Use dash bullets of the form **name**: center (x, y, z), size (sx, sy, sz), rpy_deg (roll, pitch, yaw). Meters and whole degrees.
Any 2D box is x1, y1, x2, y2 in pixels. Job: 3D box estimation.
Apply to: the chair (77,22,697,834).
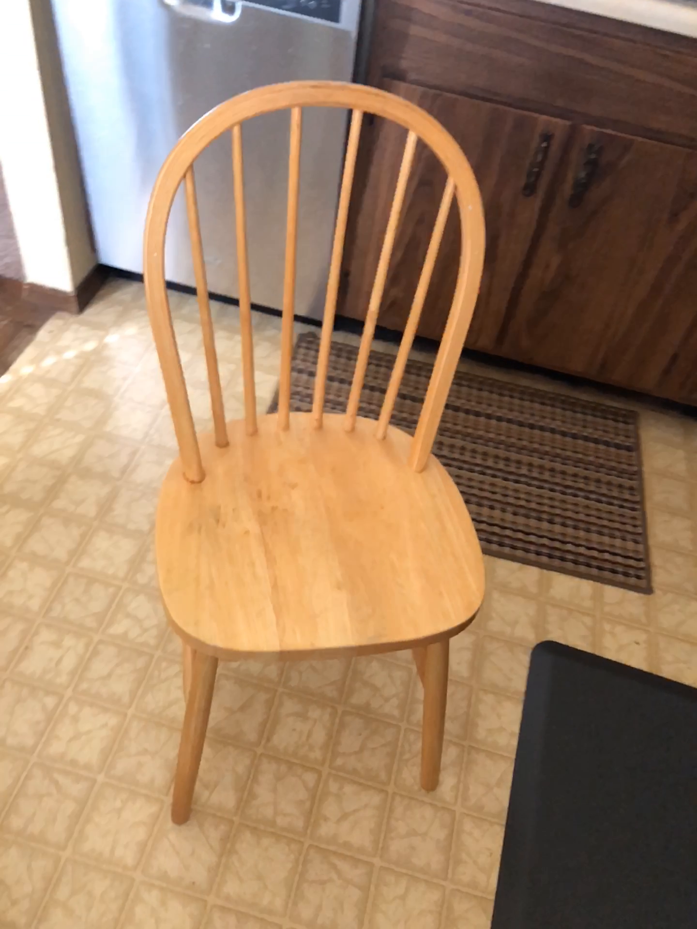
- **chair**: center (-0.046, 0.020, 1.025), size (0.460, 0.898, 0.561), rpy_deg (-3, 48, -12)
